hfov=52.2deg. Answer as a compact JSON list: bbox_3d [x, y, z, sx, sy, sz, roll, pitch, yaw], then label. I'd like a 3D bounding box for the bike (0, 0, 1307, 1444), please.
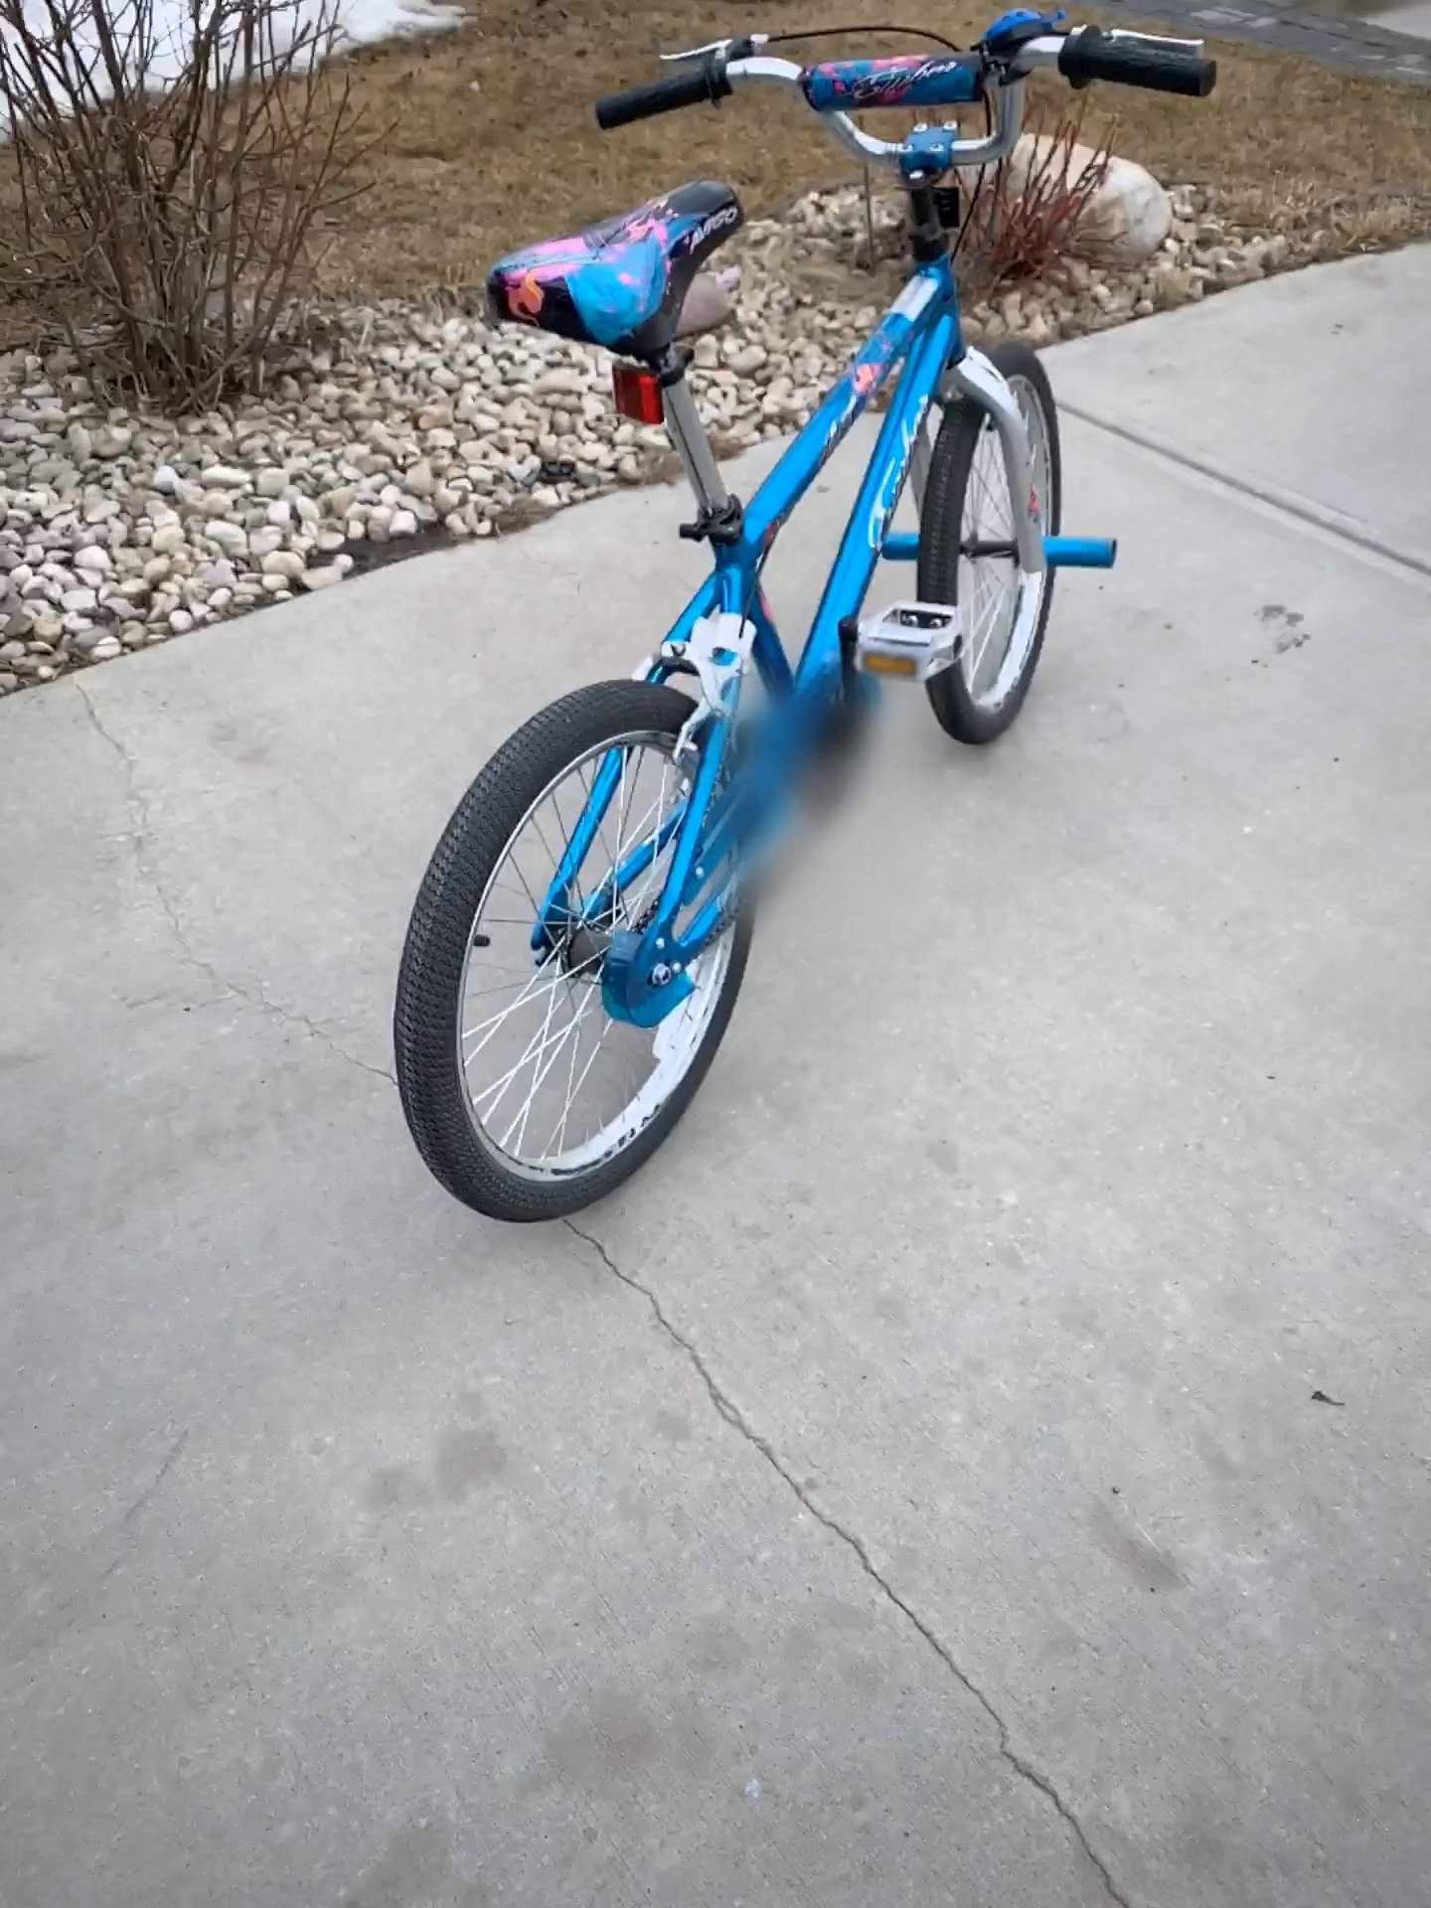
[{"bbox_3d":[0.022,-0.436,1.528,0.682,0.837,1.389,20,48,21],"label":"bike"}]
